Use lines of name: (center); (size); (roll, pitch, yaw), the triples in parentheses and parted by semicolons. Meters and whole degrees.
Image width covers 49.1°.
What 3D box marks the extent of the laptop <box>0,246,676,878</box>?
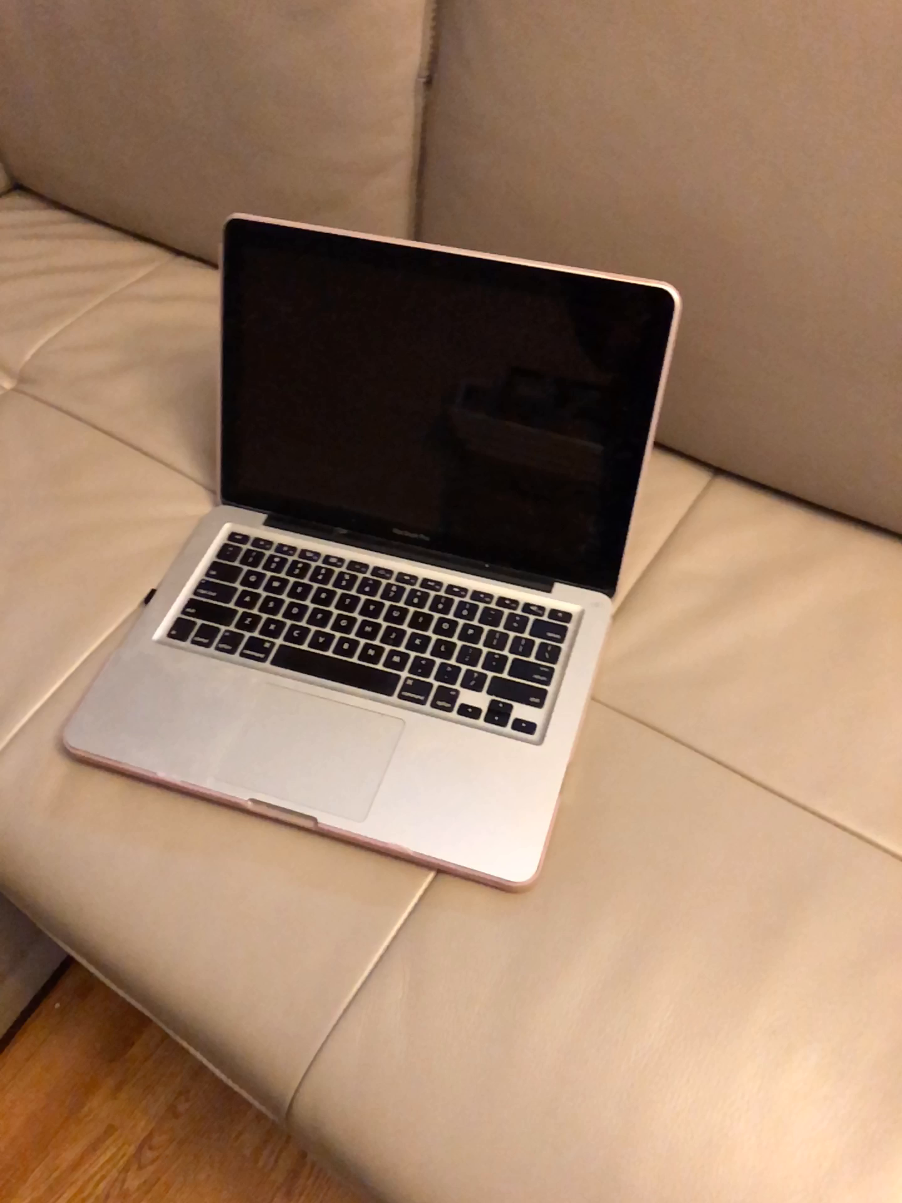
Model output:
laptop: (-0.055, -0.043, 0.628); (0.308, 0.167, 0.323); (13, 56, 14)
